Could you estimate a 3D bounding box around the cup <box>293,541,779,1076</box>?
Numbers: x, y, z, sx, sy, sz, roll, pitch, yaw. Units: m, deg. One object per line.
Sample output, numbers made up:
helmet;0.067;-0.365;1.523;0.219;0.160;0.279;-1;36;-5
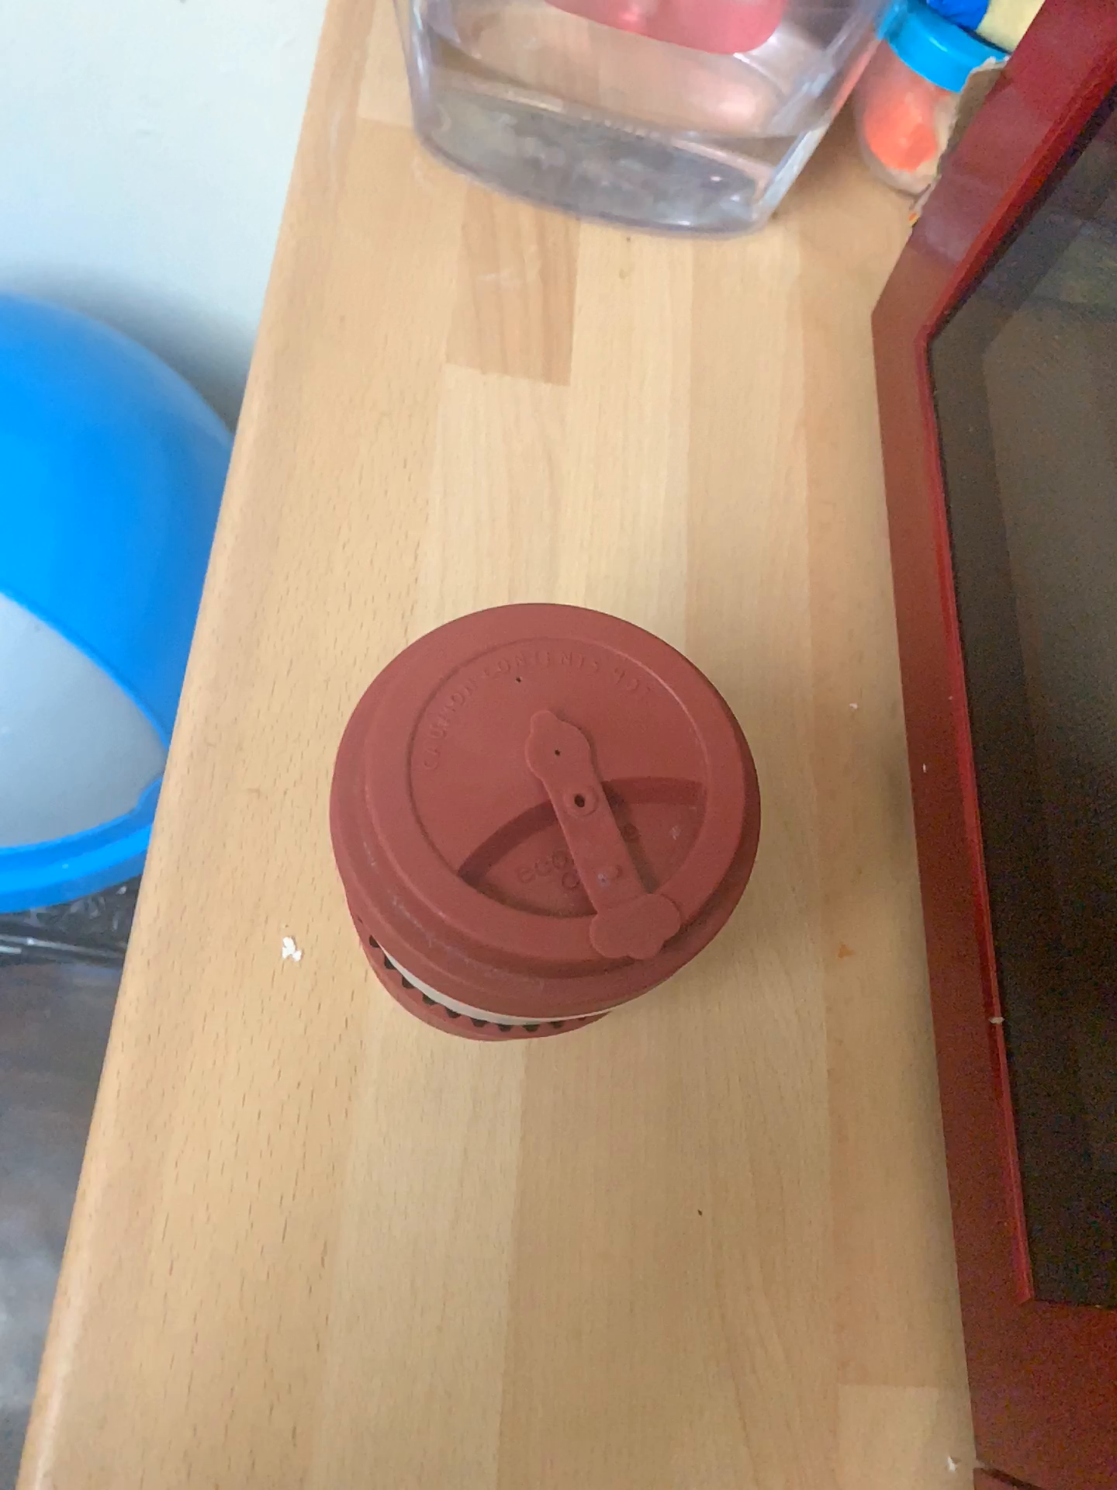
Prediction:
cup;-0.013;0.025;0.270;0.086;0.115;0.088;4;67;-10
